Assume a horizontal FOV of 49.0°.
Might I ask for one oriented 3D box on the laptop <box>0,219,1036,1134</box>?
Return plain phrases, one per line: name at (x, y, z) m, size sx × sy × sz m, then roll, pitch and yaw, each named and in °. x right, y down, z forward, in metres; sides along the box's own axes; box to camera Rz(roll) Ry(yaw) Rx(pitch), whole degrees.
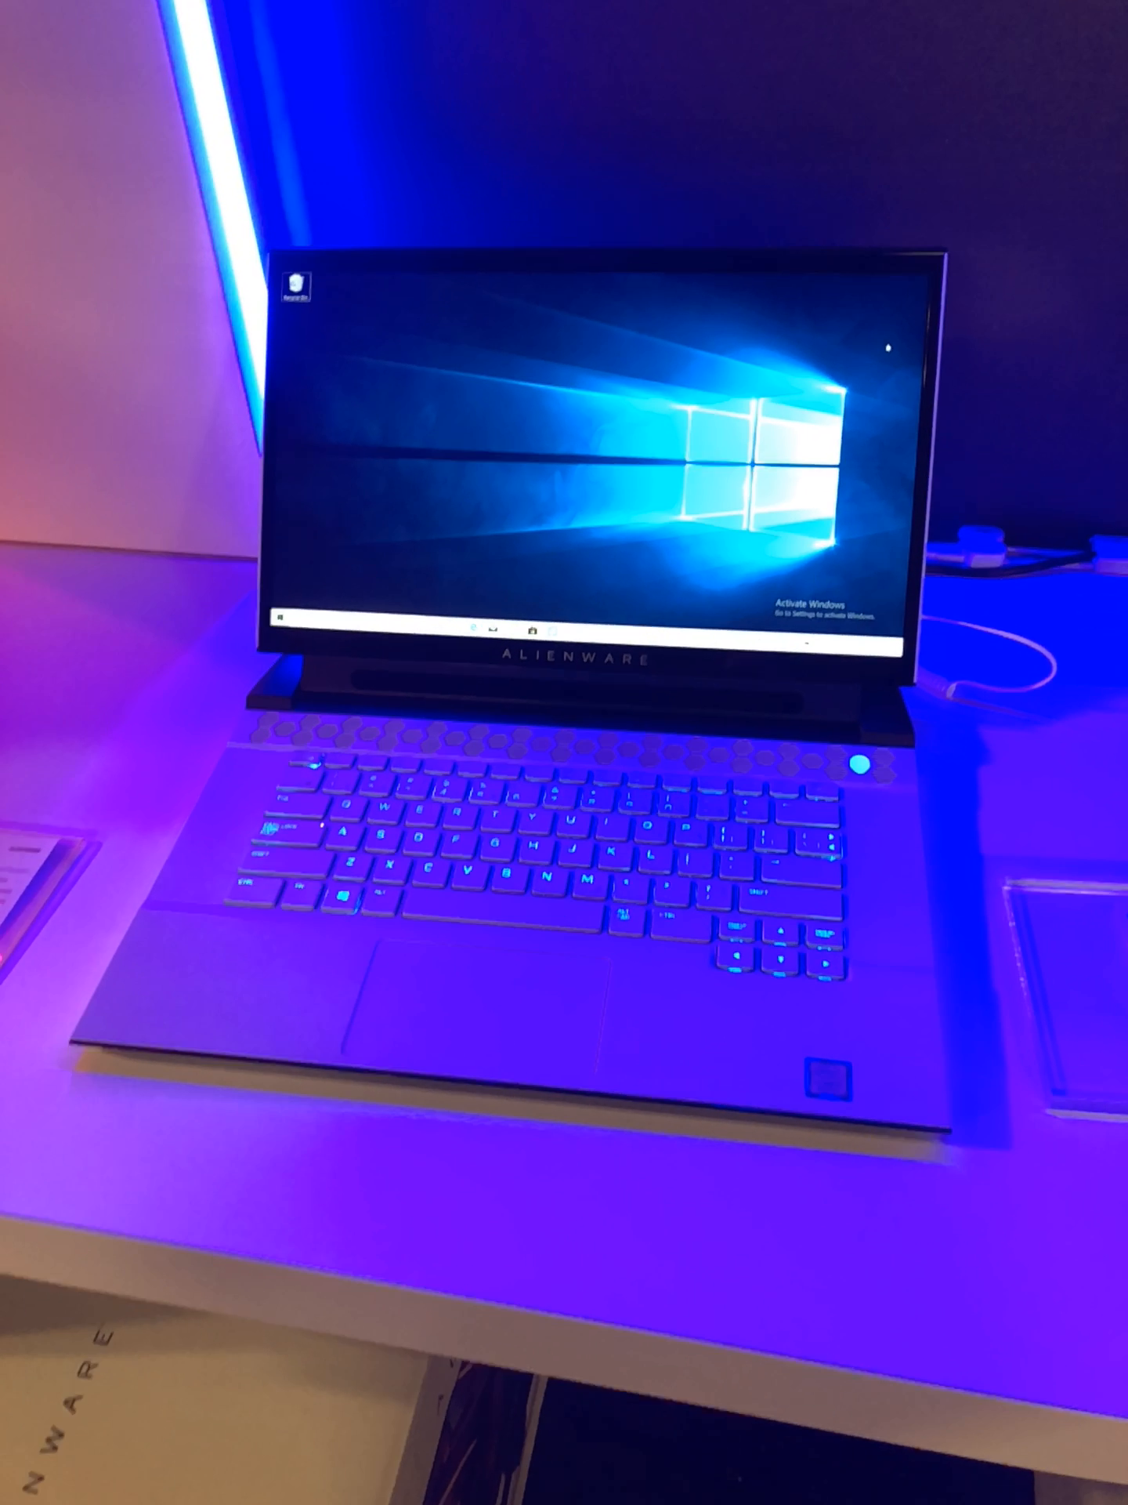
laptop at (-0.008, -0.074, 0.578) m, size 0.356 × 0.194 × 0.381 m, roll 4°, pitch 43°, yaw 9°
